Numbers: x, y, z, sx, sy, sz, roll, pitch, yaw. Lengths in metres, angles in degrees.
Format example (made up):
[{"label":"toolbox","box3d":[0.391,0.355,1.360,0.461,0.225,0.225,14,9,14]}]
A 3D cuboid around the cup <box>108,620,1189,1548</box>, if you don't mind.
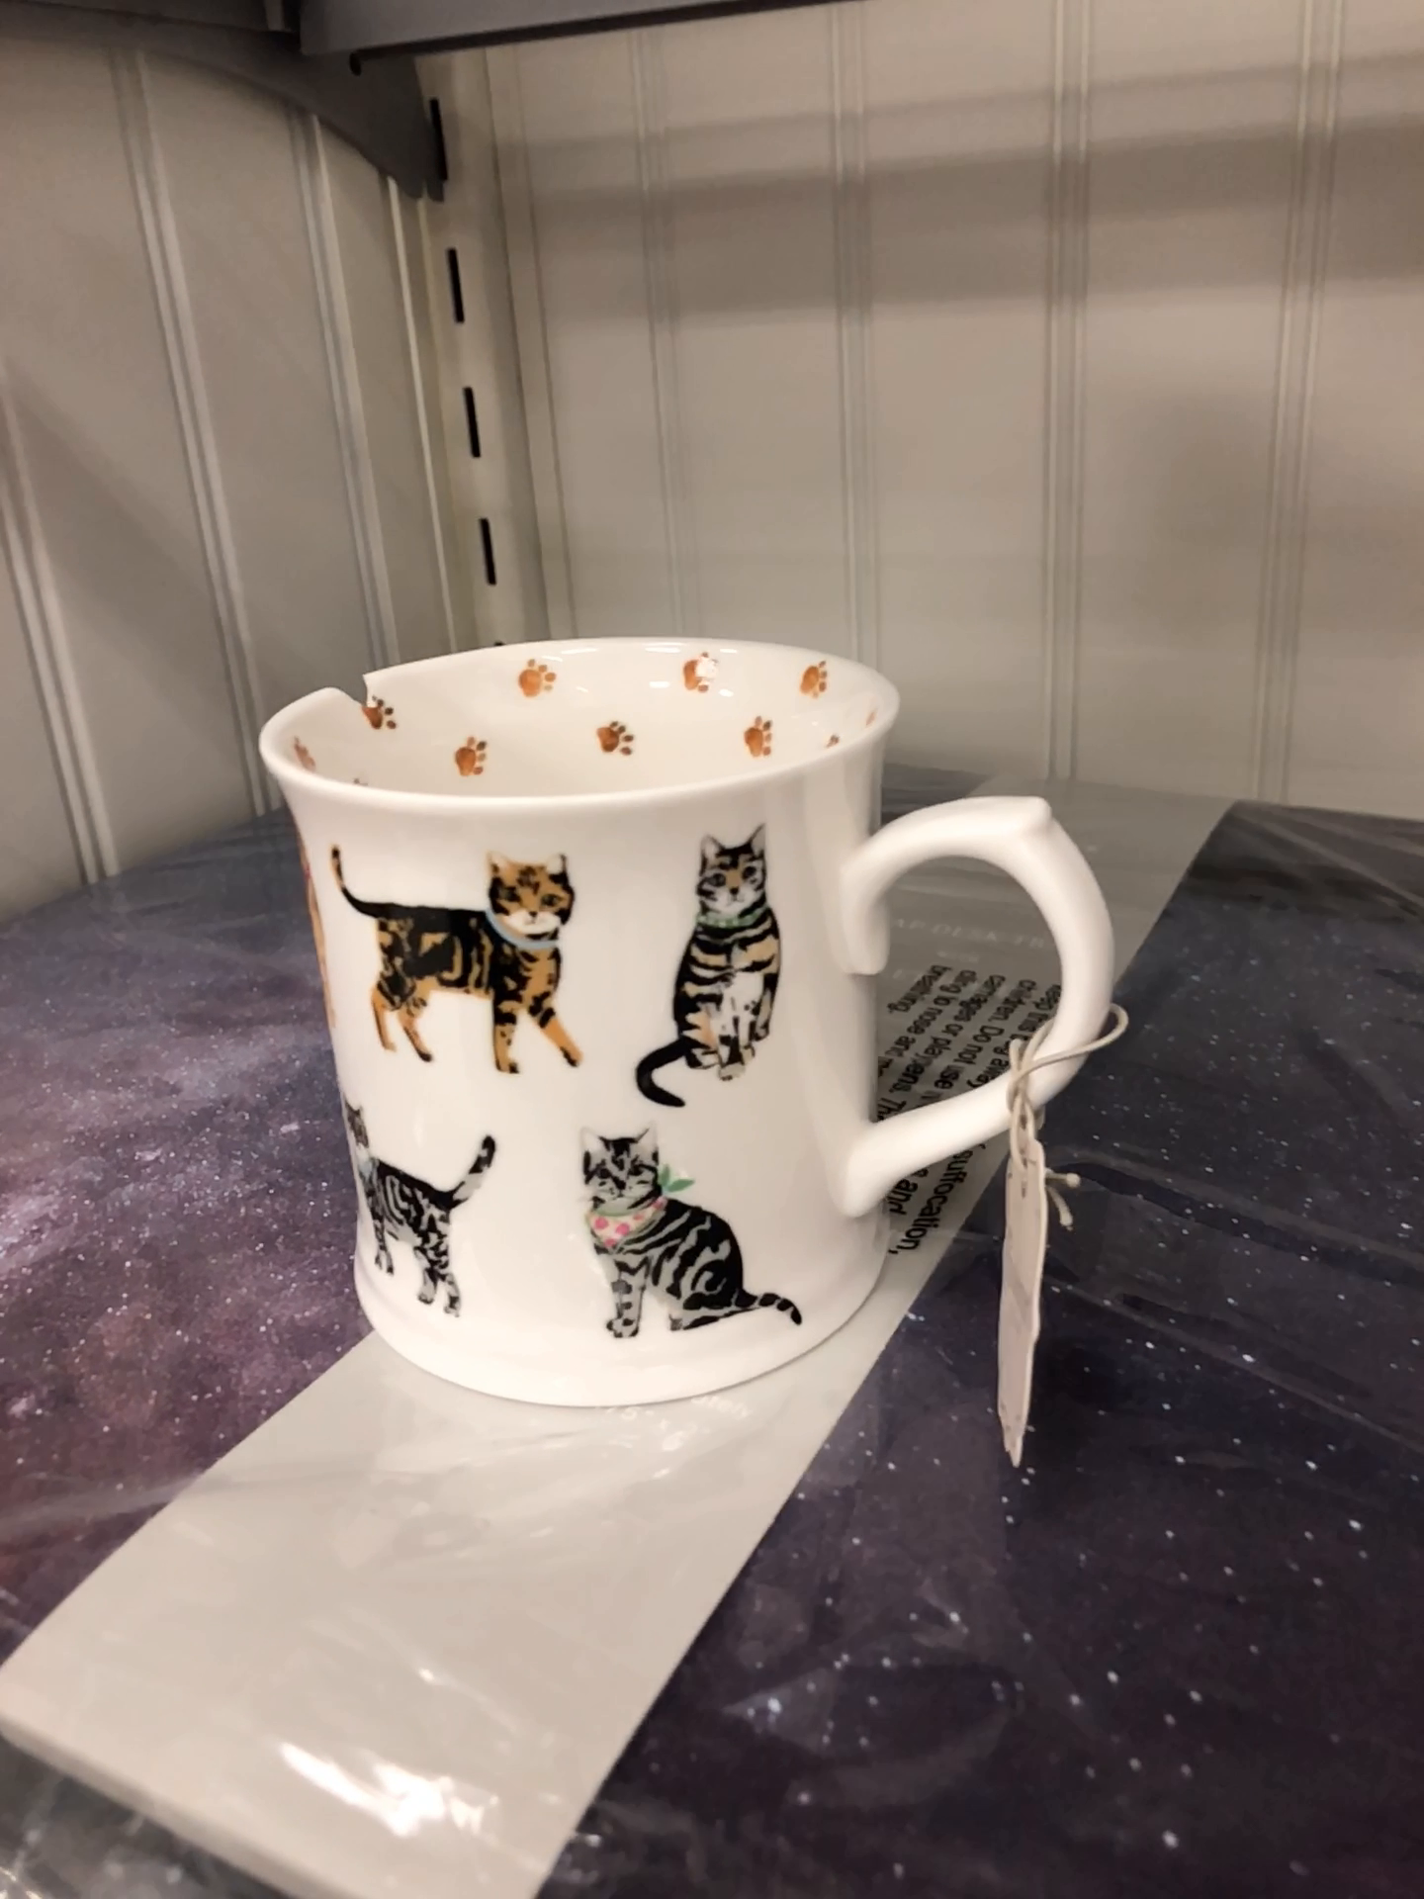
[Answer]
[{"label":"cup","box3d":[-0.003,0.008,0.260,0.137,0.099,0.096,7,26,24]}]
